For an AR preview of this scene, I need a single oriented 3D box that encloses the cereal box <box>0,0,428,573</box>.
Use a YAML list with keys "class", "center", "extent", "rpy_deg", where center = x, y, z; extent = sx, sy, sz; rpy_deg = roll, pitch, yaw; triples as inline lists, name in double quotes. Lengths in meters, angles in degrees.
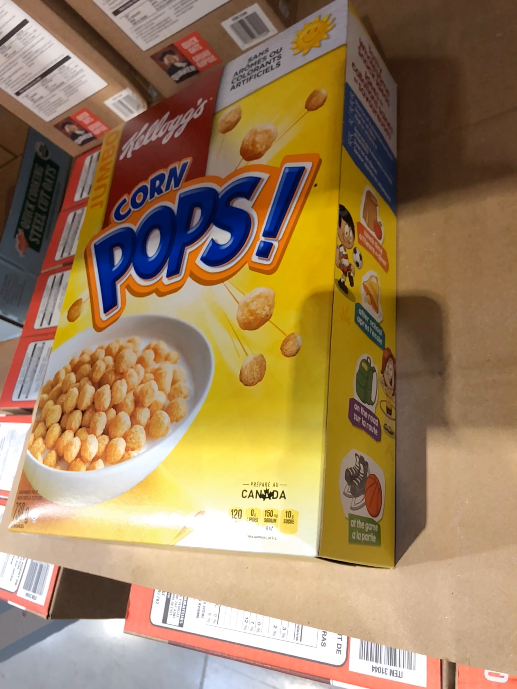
- class: "cereal box"
  center: [-0.031, -0.037, 0.407]
  extent: [0.271, 0.100, 0.340]
  rpy_deg: [-10, 63, 37]
